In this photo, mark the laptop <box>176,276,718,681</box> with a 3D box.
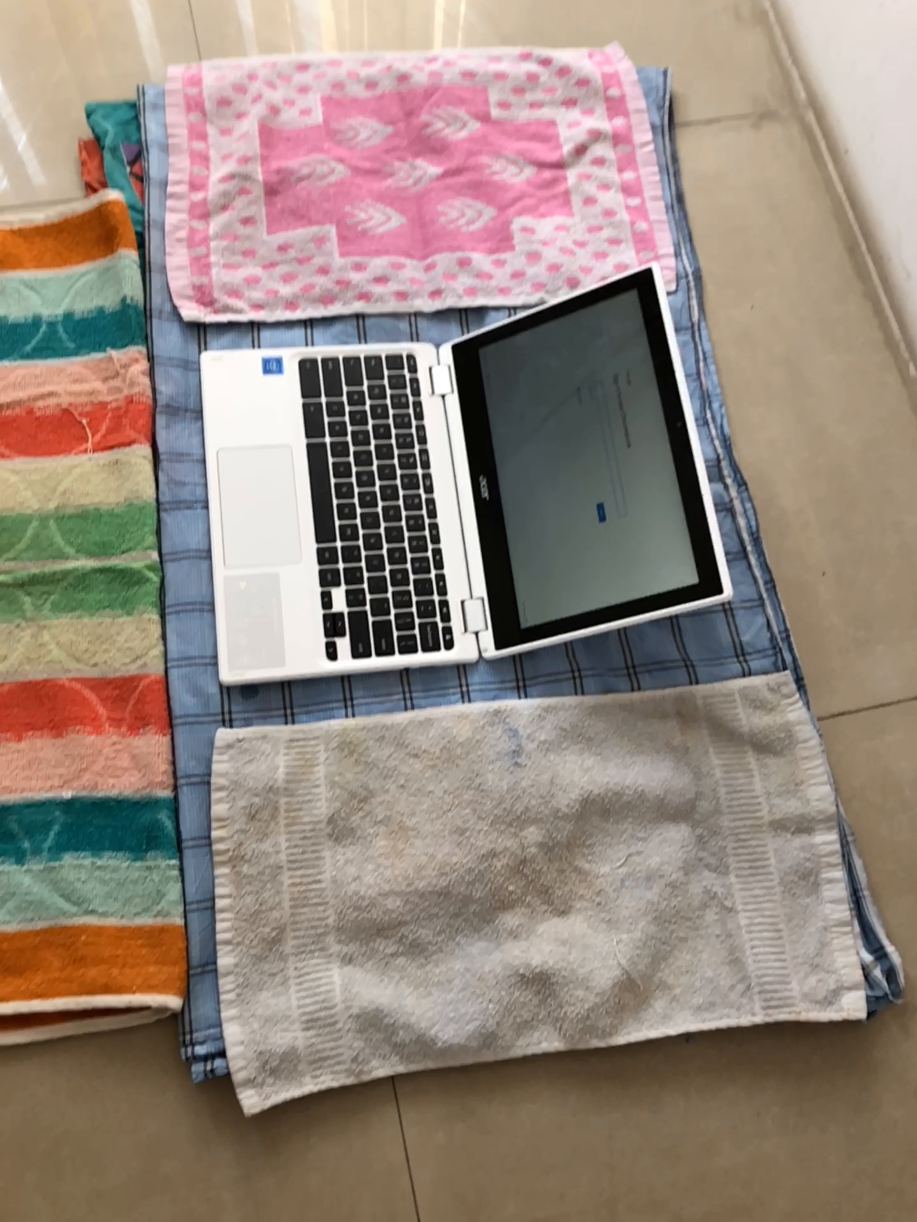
[{"bbox_3d":[-0.015,-0.110,0.798,0.367,0.101,0.286,-5,72,-10],"label":"laptop"}]
